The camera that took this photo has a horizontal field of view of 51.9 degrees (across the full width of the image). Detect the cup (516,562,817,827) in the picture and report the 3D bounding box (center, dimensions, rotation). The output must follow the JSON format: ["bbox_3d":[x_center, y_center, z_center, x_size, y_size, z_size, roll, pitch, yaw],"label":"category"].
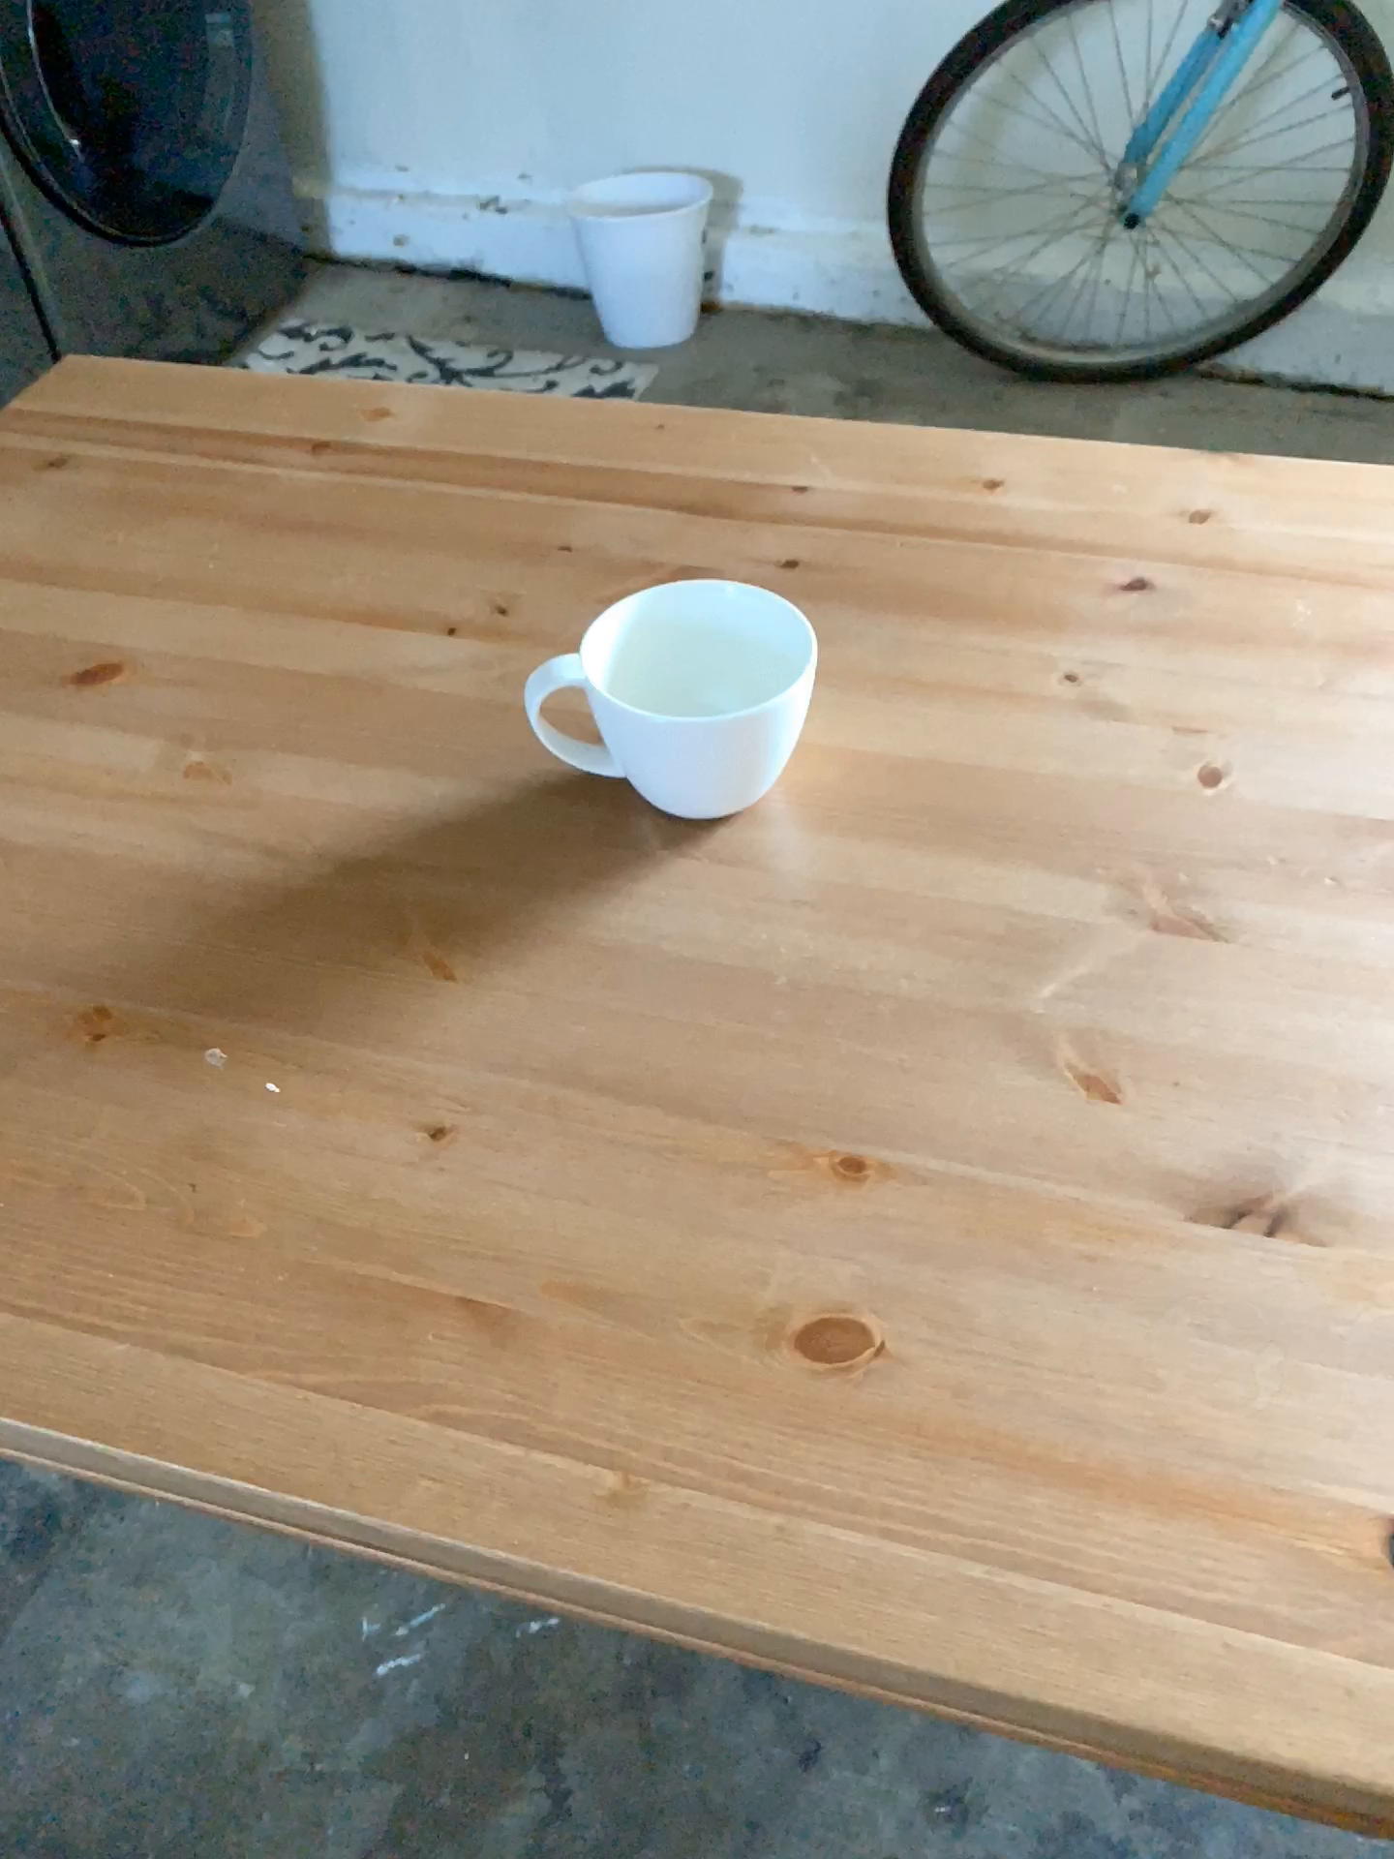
[{"bbox_3d":[-0.009,-0.112,0.681,0.130,0.070,0.110,0,48,5],"label":"cup"}]
